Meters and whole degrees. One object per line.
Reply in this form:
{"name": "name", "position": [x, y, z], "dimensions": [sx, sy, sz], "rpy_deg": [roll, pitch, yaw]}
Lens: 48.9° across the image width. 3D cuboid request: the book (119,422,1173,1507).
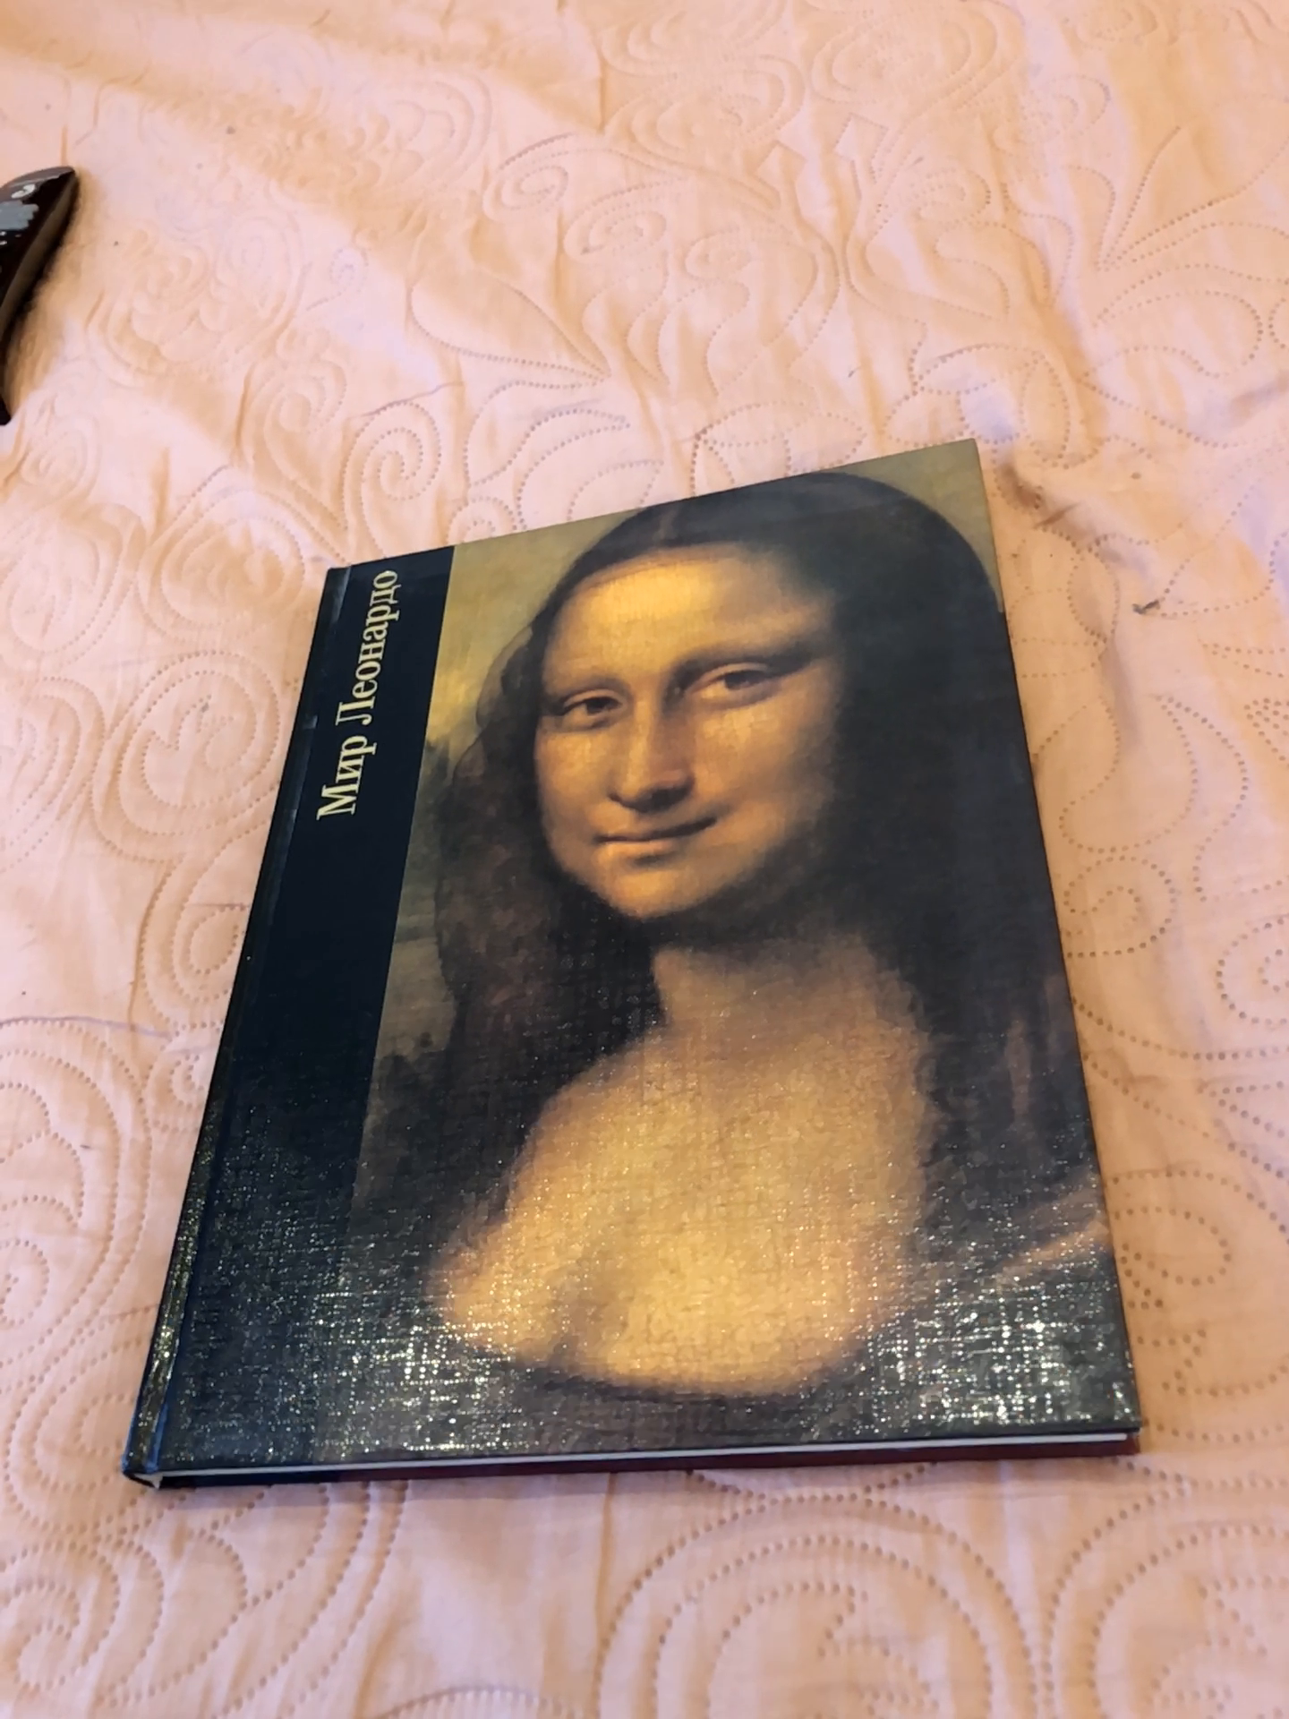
{"name": "book", "position": [-0.003, 0.011, 0.362], "dimensions": [0.210, 0.030, 0.274], "rpy_deg": [-8, 55, 12]}
